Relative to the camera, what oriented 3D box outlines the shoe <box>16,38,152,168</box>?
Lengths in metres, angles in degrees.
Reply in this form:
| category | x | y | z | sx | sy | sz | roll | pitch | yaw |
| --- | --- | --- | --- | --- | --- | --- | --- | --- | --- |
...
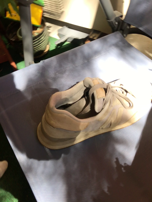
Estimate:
| category | x | y | z | sx | sy | sz | roll | pitch | yaw |
| --- | --- | --- | --- | --- | --- | --- | --- | --- | --- |
| shoe | 0.047 | 0.002 | 0.343 | 0.287 | 0.104 | 0.125 | -26 | 57 | -7 |
